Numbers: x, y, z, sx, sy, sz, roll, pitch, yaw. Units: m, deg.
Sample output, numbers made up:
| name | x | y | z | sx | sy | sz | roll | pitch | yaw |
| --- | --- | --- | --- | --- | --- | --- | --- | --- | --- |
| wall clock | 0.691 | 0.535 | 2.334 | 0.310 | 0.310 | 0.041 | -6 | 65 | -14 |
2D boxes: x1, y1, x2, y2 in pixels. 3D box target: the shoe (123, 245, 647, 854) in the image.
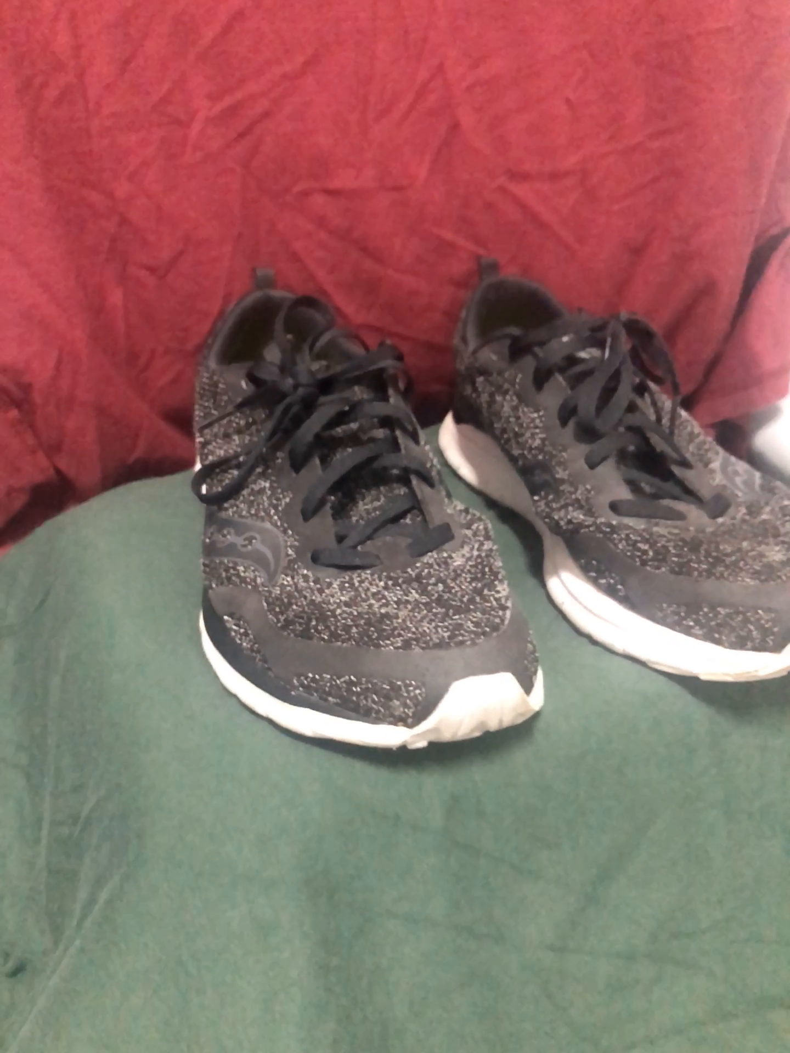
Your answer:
| name | x | y | z | sx | sy | sz | roll | pitch | yaw |
| --- | --- | --- | --- | --- | --- | --- | --- | --- | --- |
| shoe | -0.031 | -0.025 | 0.355 | 0.120 | 0.099 | 0.272 | -12 | 33 | -15 |

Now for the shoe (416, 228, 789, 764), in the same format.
| name | x | y | z | sx | sy | sz | roll | pitch | yaw |
| --- | --- | --- | --- | --- | --- | --- | --- | --- | --- |
| shoe | 0.108 | -0.042 | 0.377 | 0.120 | 0.099 | 0.262 | -11 | 33 | -13 |
